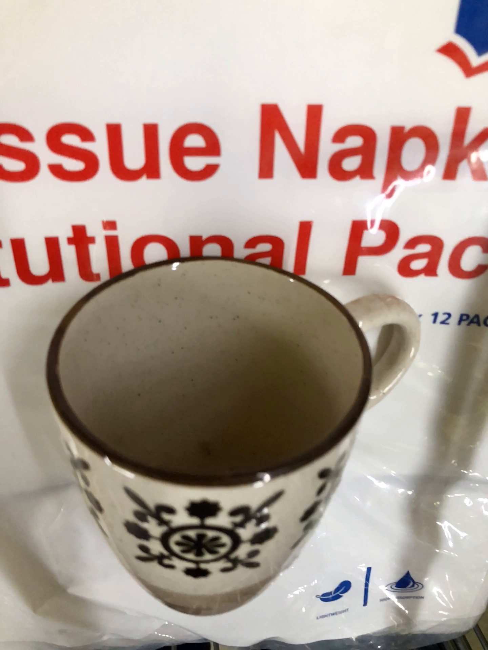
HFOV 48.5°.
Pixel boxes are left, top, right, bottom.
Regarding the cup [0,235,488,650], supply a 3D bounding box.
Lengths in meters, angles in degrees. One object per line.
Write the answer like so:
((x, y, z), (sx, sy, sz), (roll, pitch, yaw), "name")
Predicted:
((-0.004, 0.048, 0.165), (0.100, 0.070, 0.110), (-19, 134, -27), "cup")
